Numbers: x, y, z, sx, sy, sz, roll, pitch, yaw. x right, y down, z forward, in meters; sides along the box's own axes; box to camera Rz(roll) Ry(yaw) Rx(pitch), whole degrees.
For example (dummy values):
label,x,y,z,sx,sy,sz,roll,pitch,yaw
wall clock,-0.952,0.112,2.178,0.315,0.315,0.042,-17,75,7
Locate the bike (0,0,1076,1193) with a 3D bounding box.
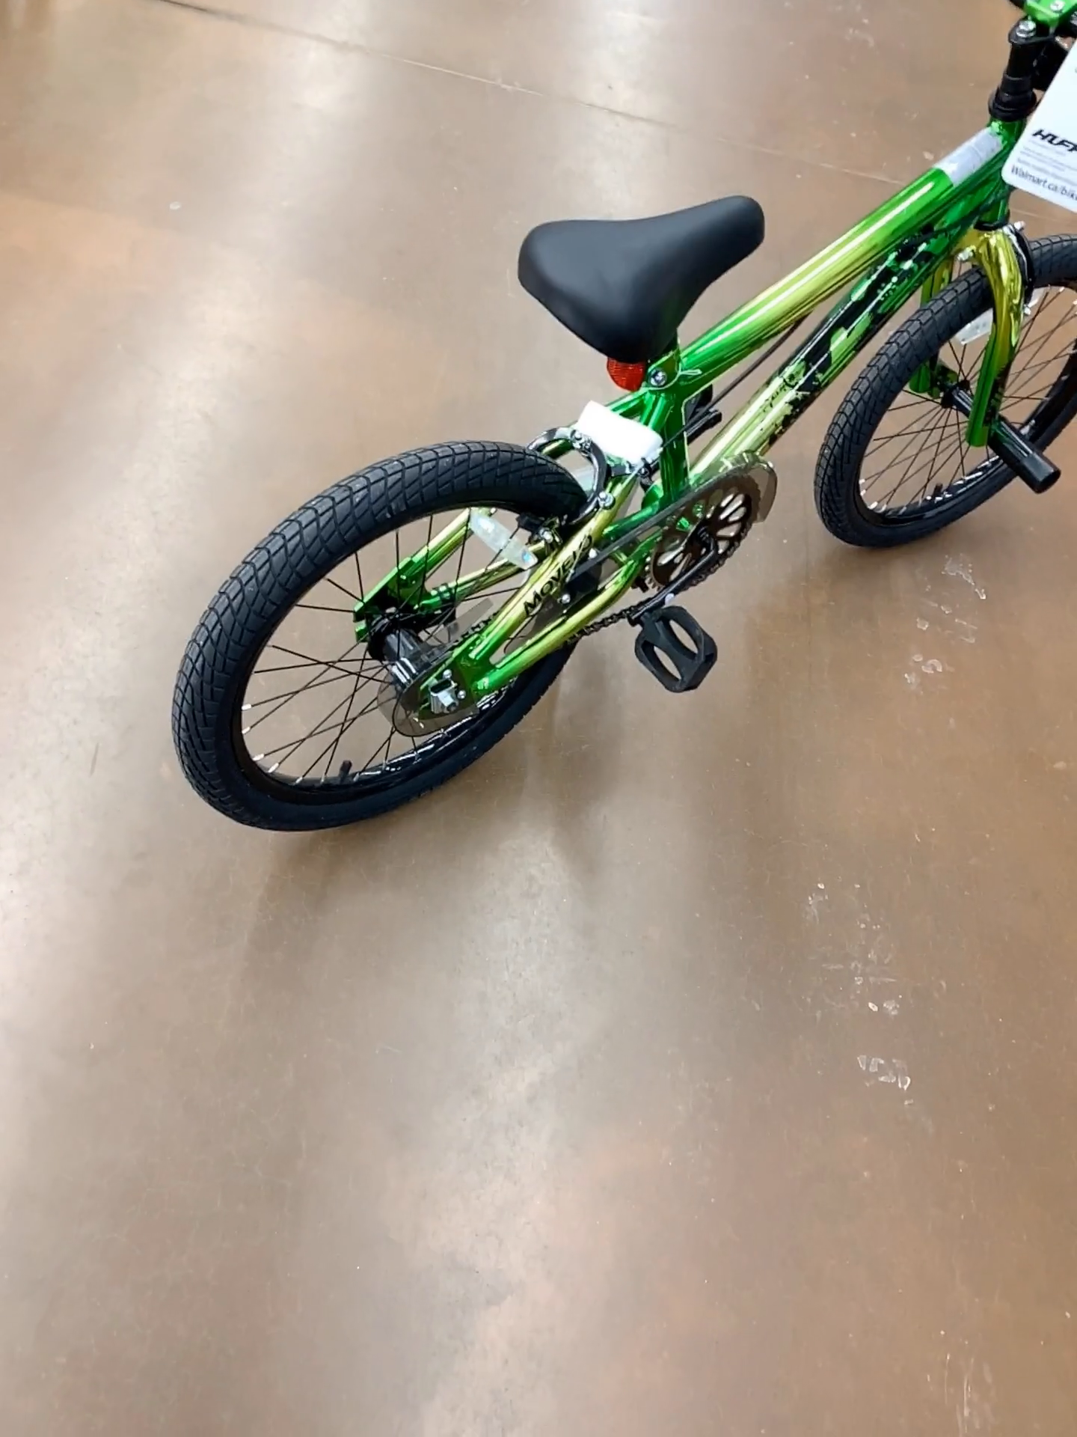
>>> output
label,x,y,z,sx,sy,sz,roll,pitch,yaw
bike,0.392,-0.334,1.076,1.408,1.035,0.718,-27,64,-20
